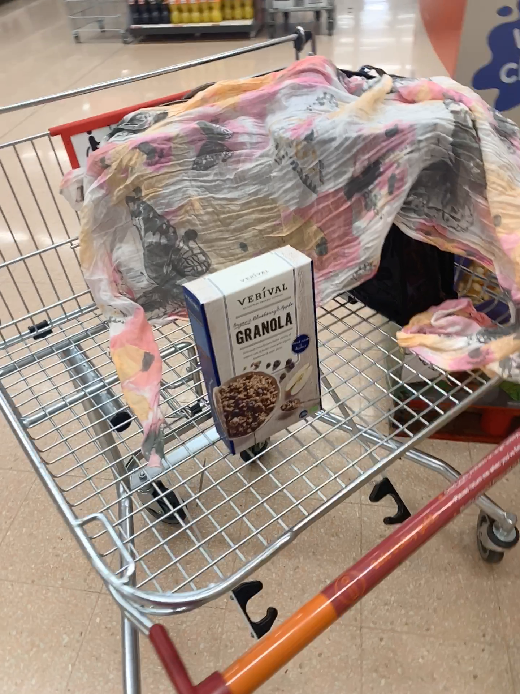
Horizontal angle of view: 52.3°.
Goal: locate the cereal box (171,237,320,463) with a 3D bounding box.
[{"bbox_3d":[-0.006,0.009,0.604,0.140,0.228,0.050,-23,40,-21],"label":"cereal box"}]
